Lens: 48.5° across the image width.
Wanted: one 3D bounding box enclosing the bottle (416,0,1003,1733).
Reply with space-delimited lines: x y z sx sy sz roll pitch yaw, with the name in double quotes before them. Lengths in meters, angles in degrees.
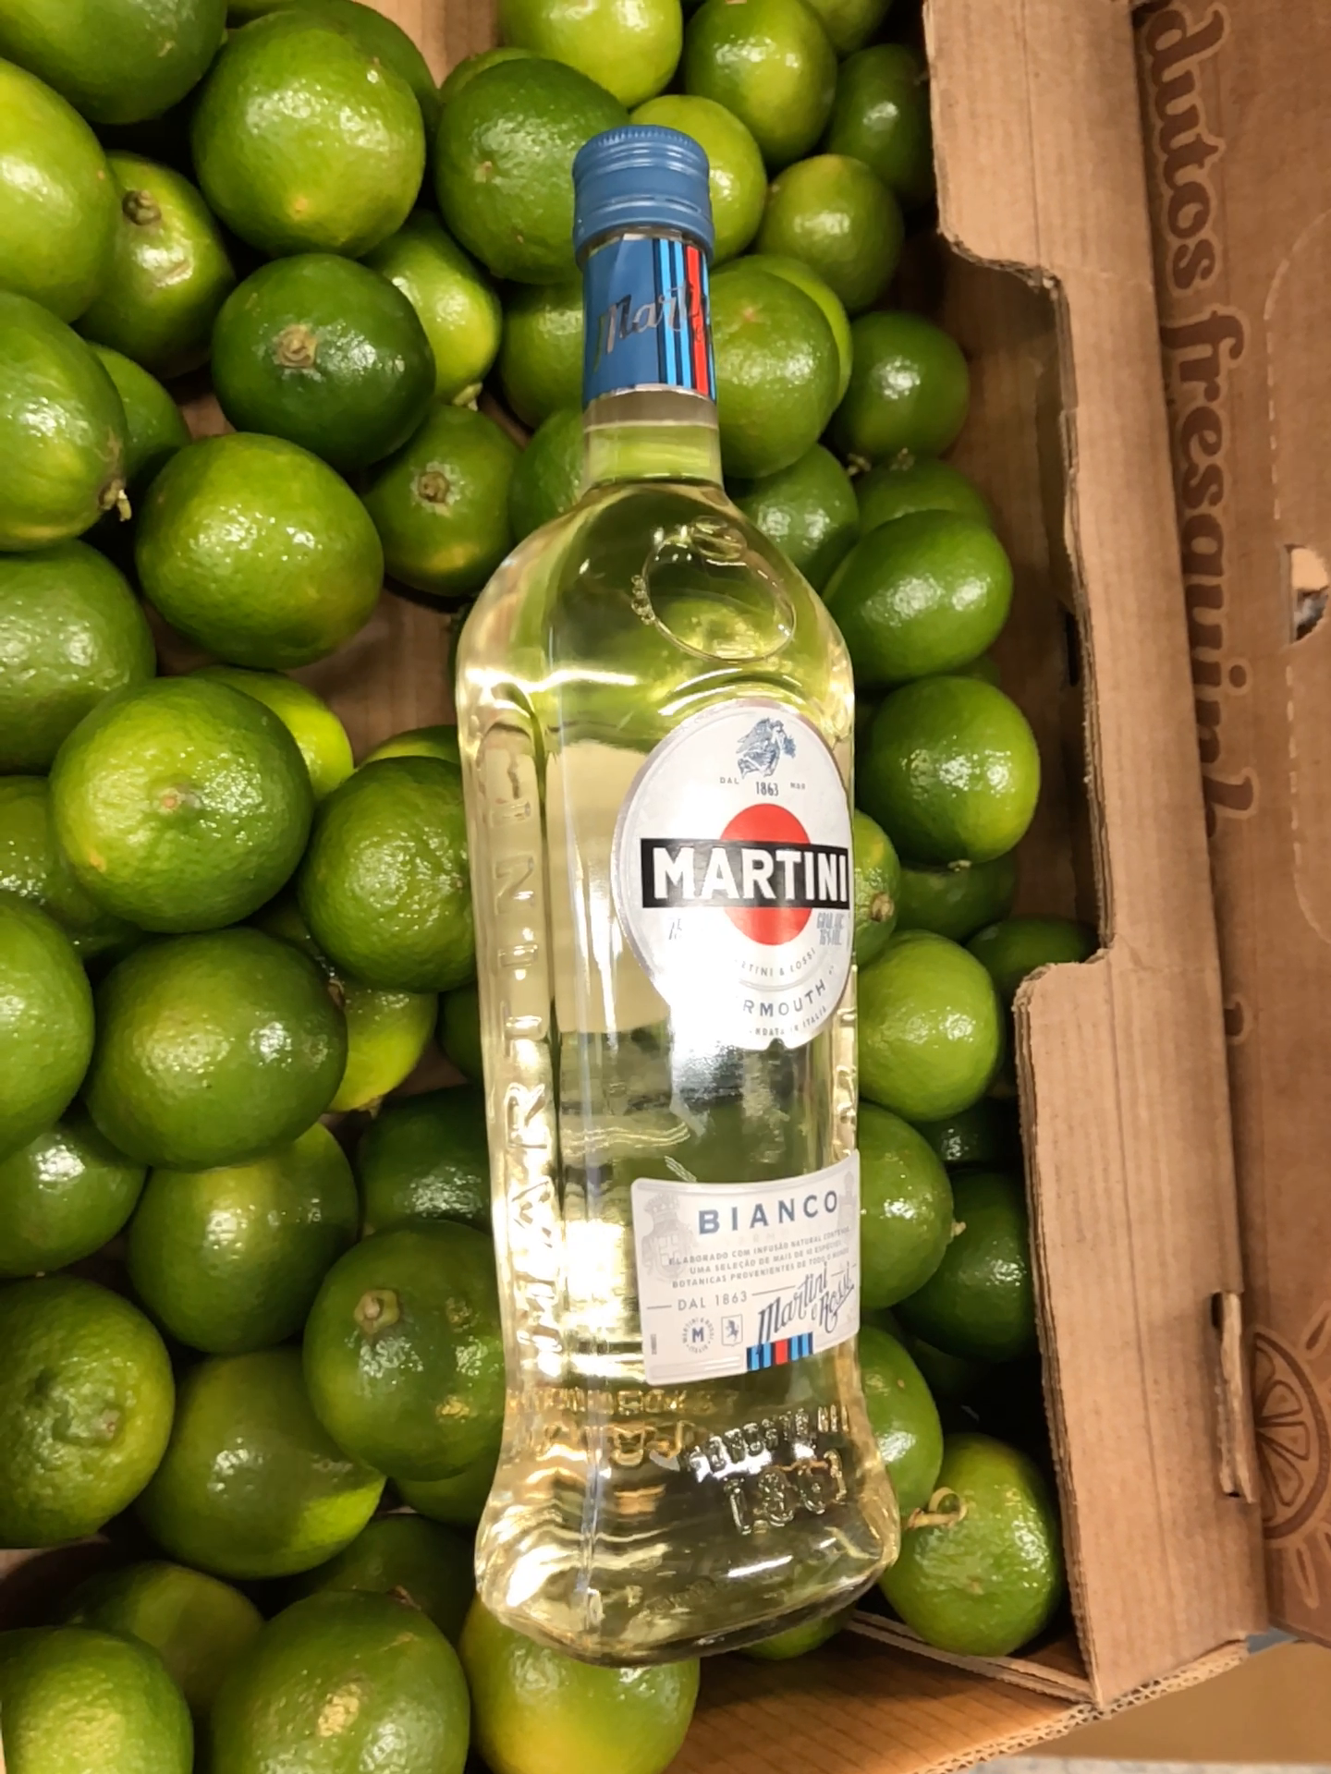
"bottle" 0.008 -0.012 0.317 0.100 0.050 0.320 2 81 -37
